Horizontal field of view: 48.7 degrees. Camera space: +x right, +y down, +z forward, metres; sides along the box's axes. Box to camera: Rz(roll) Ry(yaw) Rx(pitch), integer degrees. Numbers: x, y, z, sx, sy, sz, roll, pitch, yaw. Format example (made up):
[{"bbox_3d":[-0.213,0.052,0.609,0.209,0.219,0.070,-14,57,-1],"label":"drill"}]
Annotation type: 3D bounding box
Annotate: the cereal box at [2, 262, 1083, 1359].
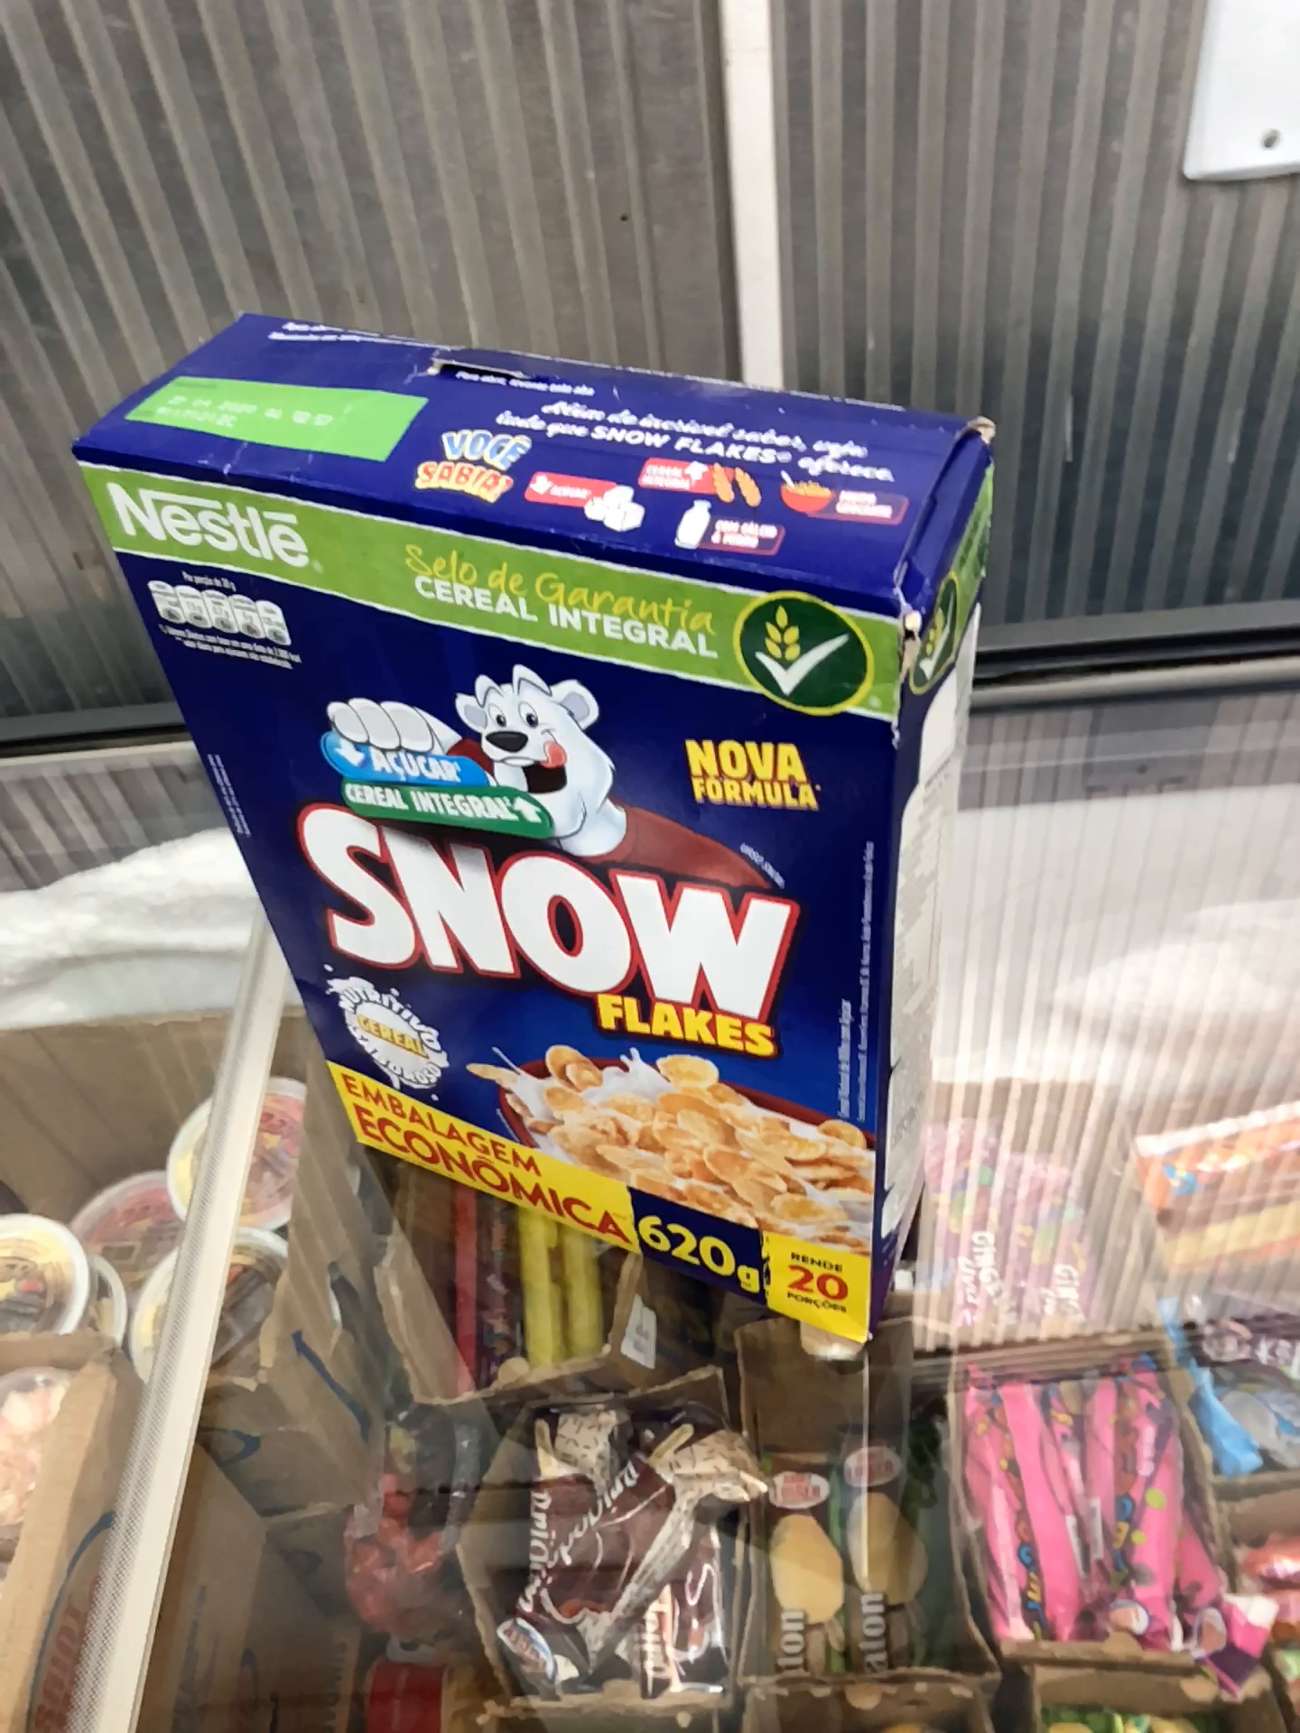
[{"bbox_3d":[-0.016,0.002,0.422,0.230,0.308,0.070,17,52,22],"label":"cereal box"}]
